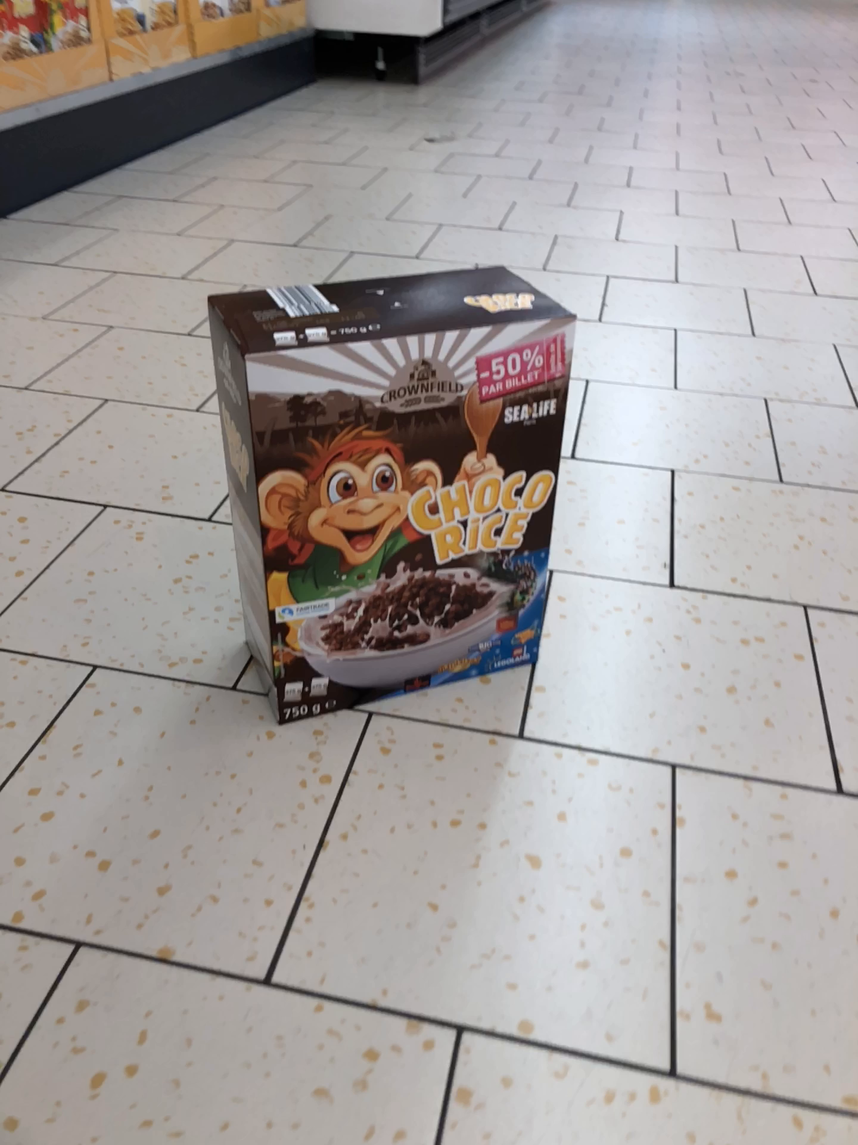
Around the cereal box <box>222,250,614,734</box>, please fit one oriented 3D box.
[{"bbox_3d":[-0.012,-0.051,0.607,0.200,0.268,0.100,-11,36,-18],"label":"cereal box"}]
